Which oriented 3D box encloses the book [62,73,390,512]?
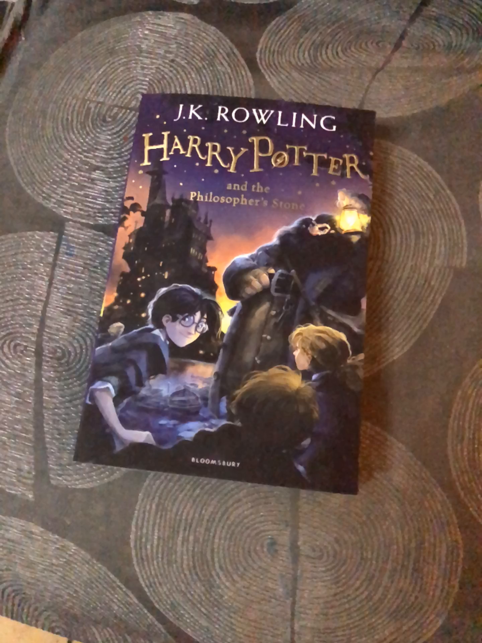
[{"bbox_3d":[0.001,-0.019,0.279,0.140,0.040,0.210,6,74,-3],"label":"book"}]
